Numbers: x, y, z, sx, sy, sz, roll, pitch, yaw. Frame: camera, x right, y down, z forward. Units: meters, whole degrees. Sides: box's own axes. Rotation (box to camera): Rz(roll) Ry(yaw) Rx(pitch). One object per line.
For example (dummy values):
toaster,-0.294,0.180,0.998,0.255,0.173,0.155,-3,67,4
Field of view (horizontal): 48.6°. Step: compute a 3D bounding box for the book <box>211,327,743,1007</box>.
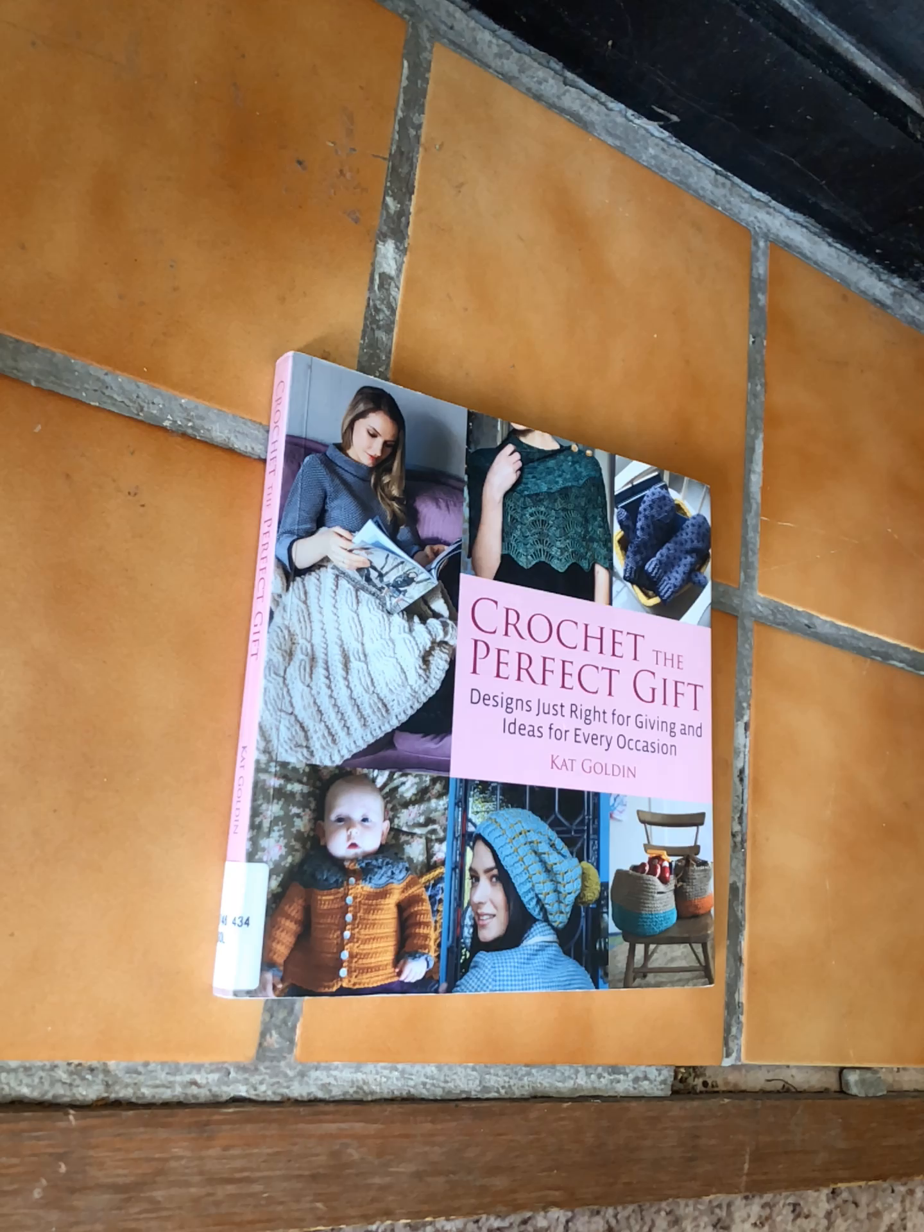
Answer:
book,0.025,0.028,0.392,0.218,0.020,0.221,12,75,-32
